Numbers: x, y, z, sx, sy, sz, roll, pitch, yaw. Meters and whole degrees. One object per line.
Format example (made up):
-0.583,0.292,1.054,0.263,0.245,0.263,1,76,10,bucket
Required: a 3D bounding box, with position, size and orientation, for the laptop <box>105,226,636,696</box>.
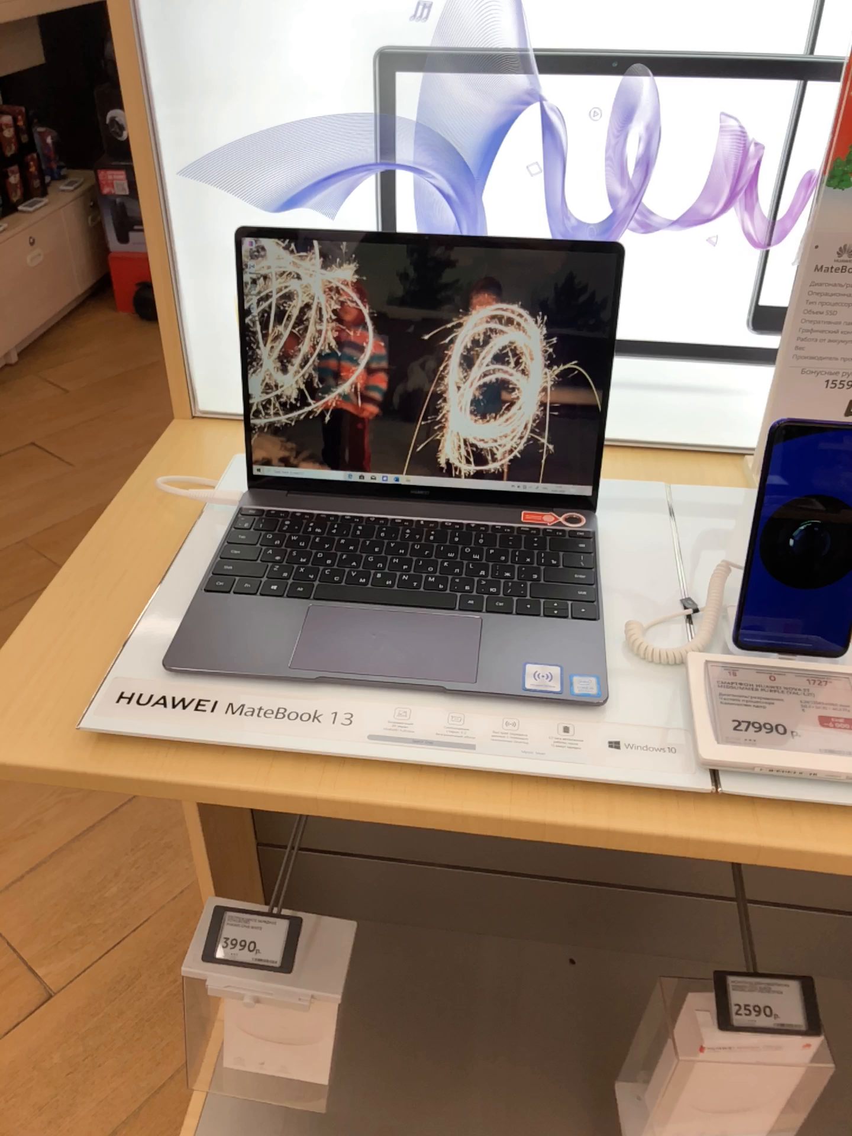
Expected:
-0.016,-0.085,0.628,0.274,0.192,0.245,4,37,5,laptop
